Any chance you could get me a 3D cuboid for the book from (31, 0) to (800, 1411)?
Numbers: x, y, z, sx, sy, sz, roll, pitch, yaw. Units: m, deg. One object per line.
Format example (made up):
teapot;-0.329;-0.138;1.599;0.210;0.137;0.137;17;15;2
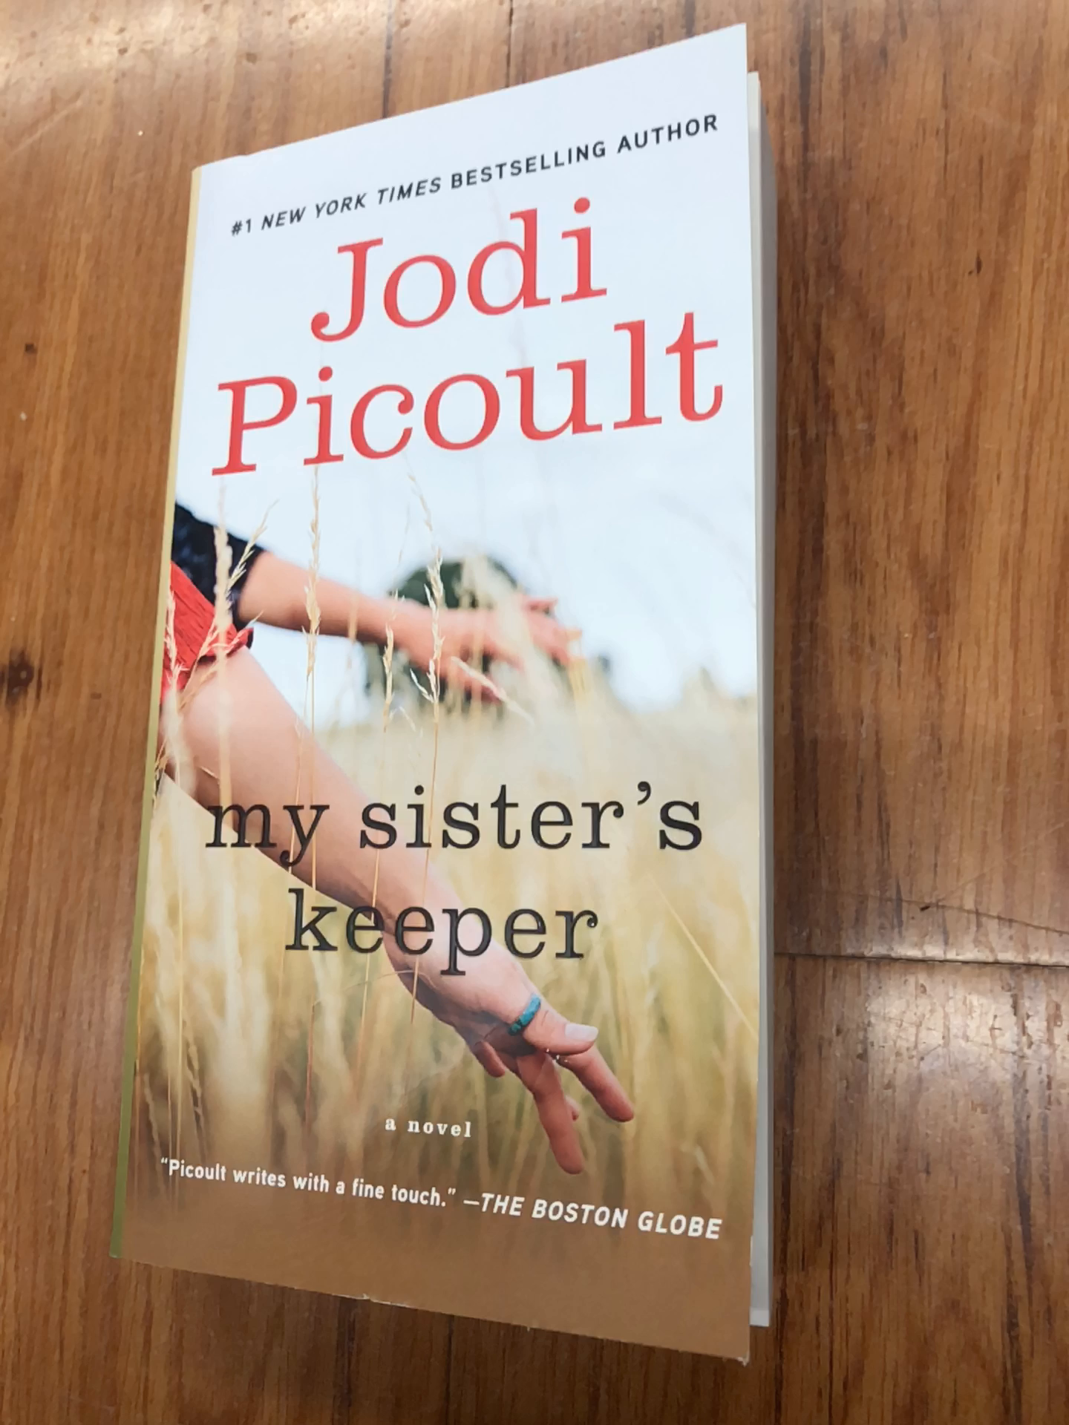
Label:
book;-0.015;-0.006;0.196;0.110;0.040;0.190;-1;81;20
